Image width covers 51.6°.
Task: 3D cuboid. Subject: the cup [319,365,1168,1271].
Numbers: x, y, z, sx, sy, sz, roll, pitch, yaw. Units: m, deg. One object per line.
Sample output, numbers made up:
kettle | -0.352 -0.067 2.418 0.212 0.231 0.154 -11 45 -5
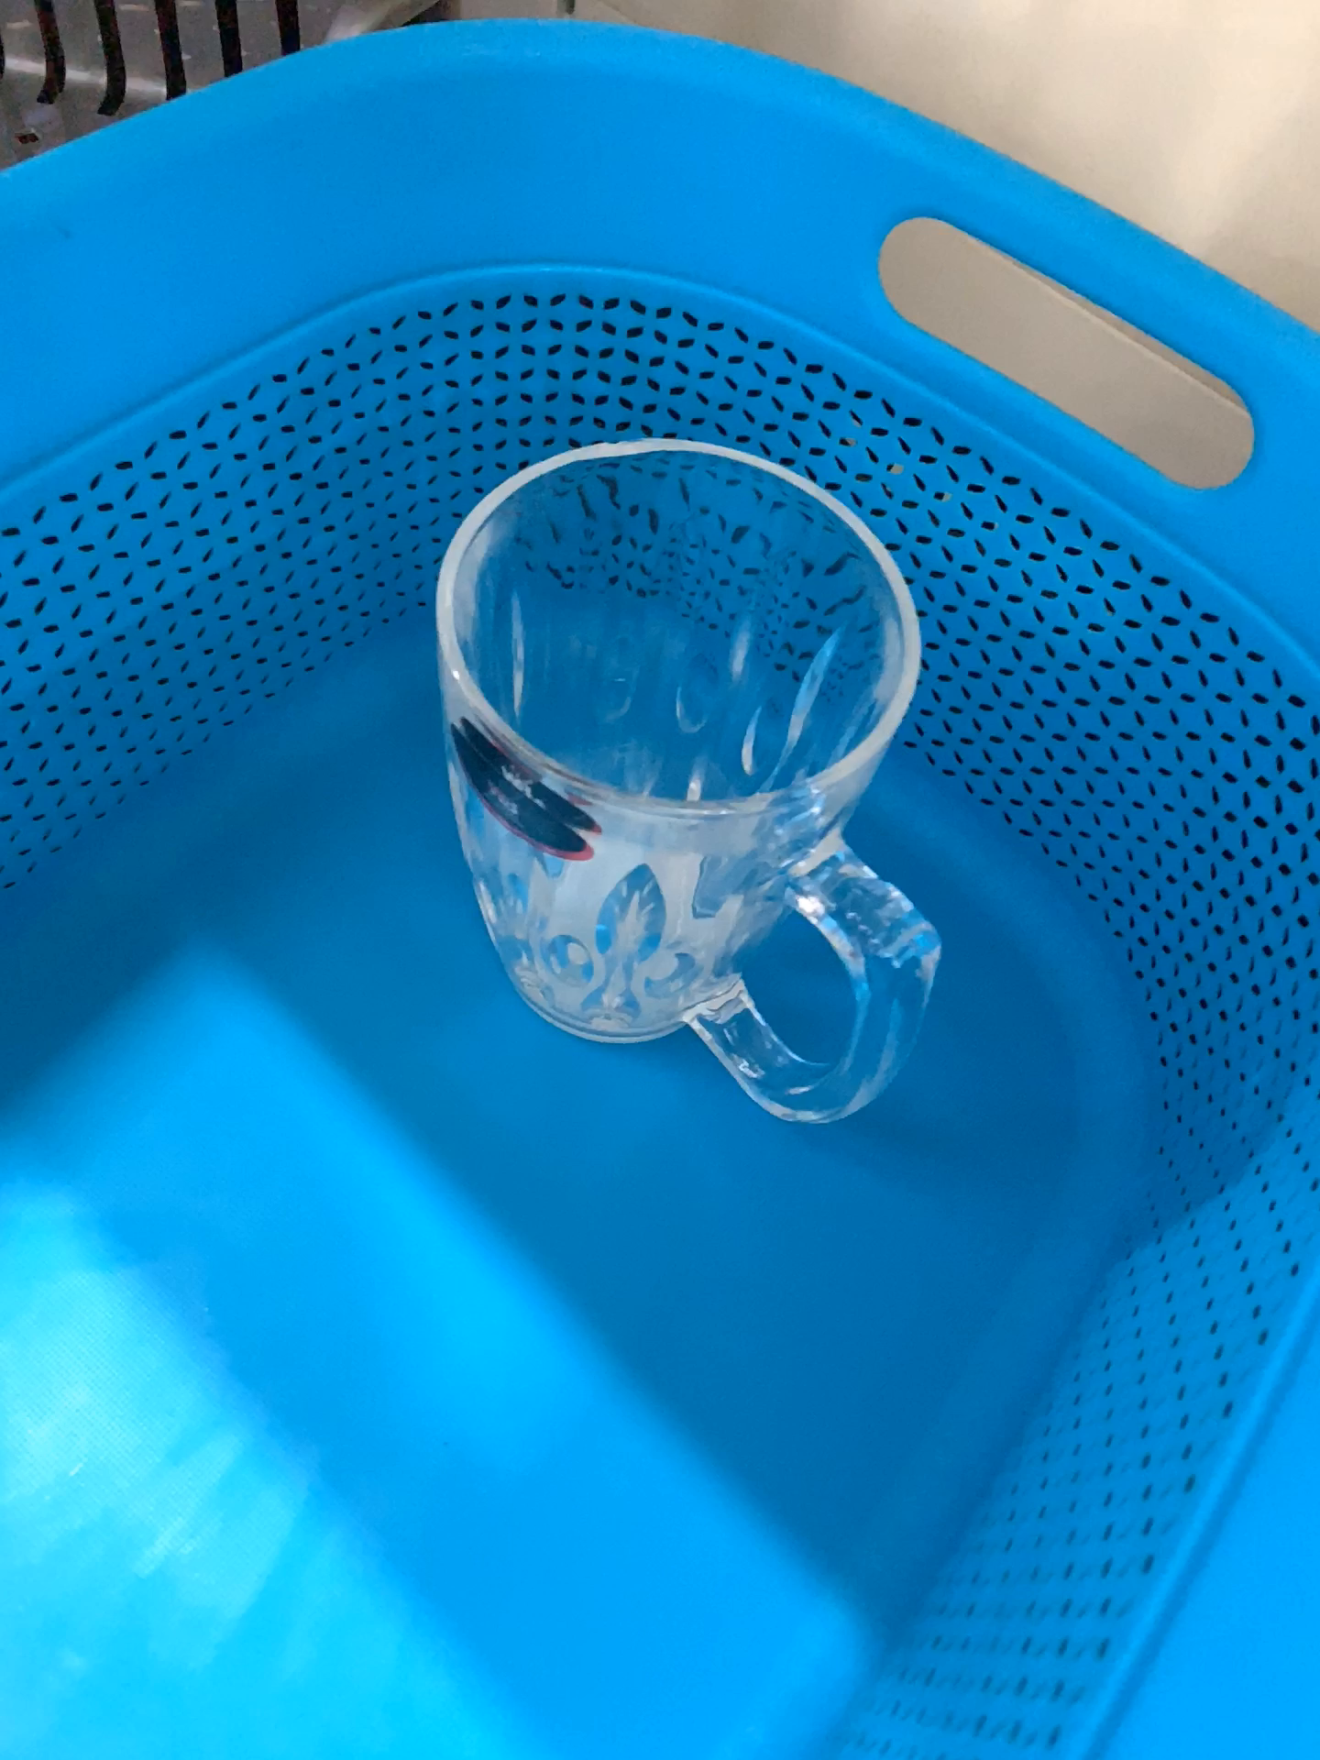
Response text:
cup | 0.008 -0.006 0.262 0.109 0.117 0.078 37 62 15
